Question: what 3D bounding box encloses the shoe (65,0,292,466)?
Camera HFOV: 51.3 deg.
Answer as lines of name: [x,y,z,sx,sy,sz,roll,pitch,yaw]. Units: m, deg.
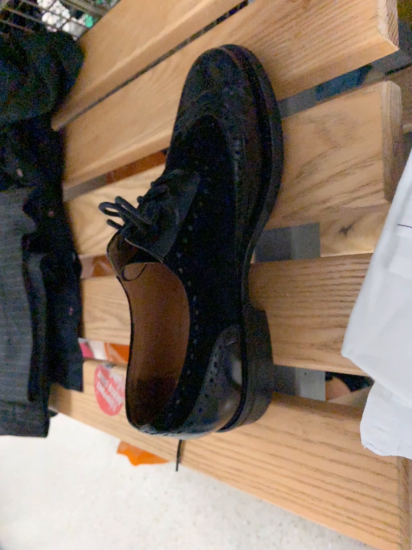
shoe: [-0.019,-0.033,0.276,0.100,0.095,0.250,2,90,48]
